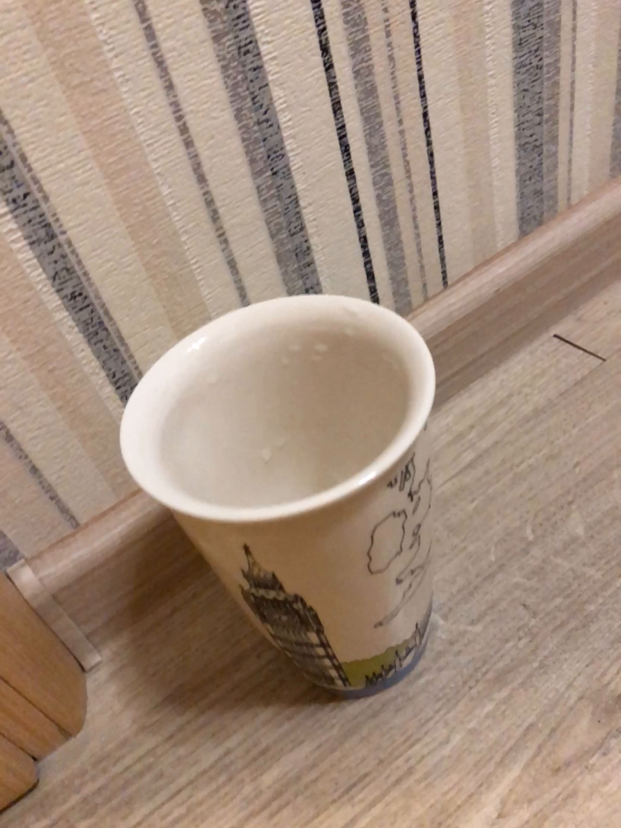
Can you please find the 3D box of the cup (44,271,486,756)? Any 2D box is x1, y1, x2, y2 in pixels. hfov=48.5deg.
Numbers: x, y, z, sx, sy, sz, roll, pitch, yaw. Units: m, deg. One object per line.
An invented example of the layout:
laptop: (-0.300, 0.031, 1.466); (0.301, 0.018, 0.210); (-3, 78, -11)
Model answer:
cup: (0.000, 0.034, 0.250); (0.095, 0.133, 0.097); (-9, 44, 9)
